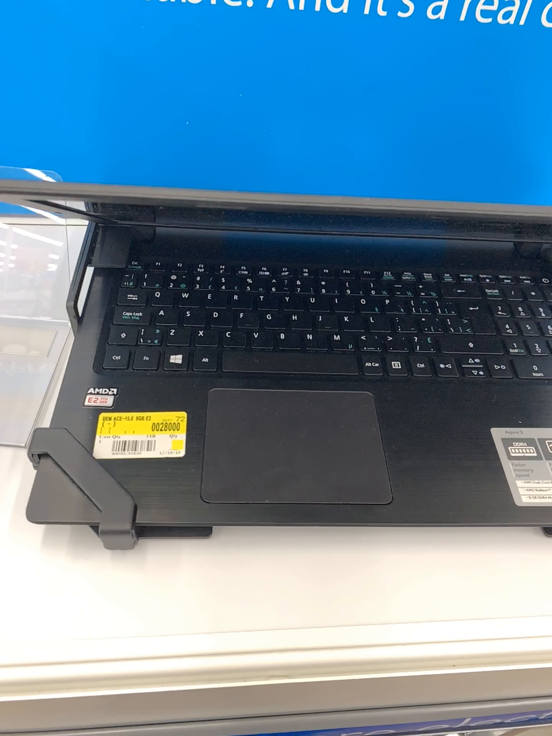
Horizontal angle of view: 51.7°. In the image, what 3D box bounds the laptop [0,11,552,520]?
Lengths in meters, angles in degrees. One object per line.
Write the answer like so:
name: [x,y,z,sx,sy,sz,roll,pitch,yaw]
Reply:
laptop: [0.060,-0.059,0.319,0.364,0.146,0.234,1,51,-4]
